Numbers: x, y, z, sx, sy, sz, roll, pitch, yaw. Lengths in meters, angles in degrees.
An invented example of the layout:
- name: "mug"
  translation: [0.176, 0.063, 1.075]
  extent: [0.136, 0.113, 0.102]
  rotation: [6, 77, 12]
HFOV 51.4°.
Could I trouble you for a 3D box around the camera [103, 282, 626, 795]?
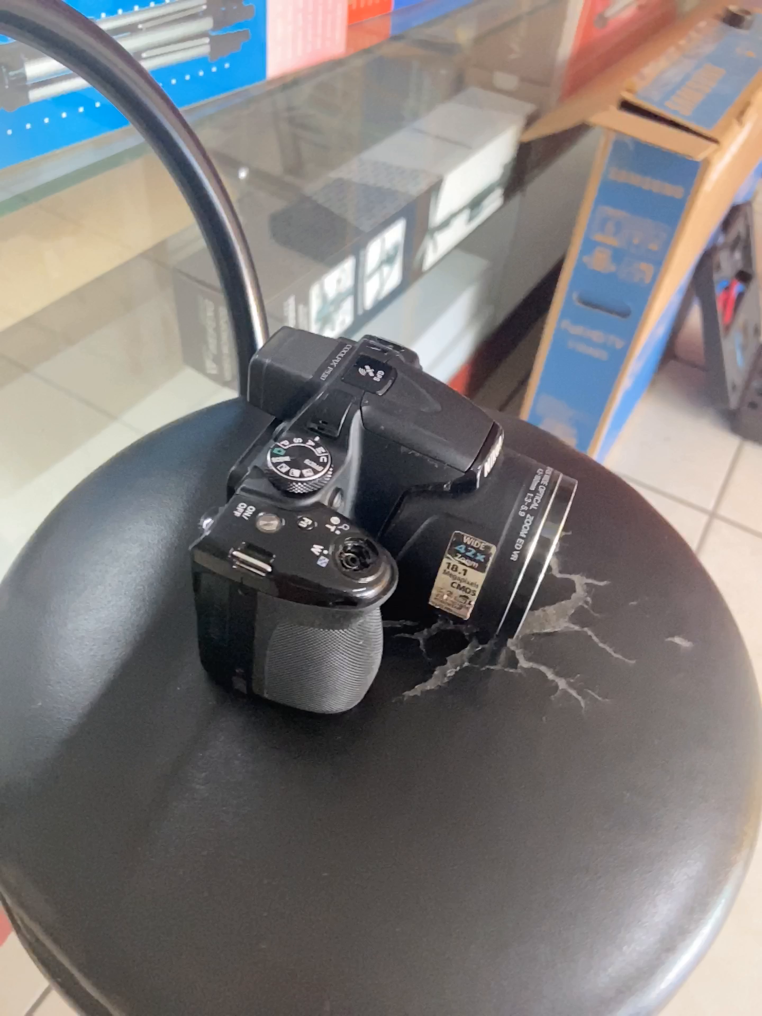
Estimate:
- name: "camera"
  translation: [0.002, 0.000, 0.269]
  extent: [0.120, 0.070, 0.131]
  rotation: [20, 47, 12]
